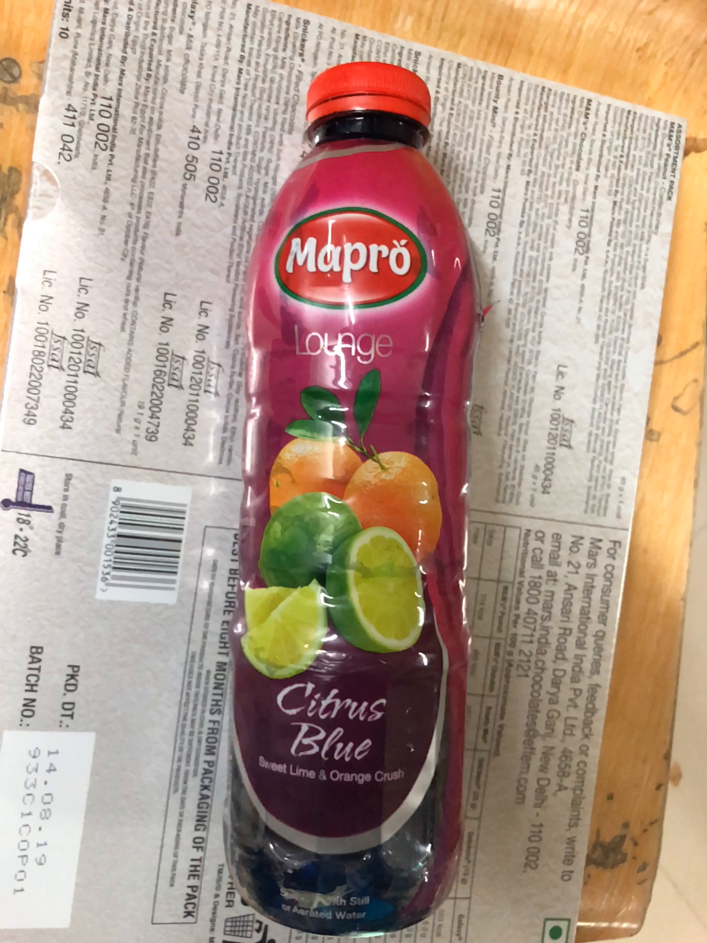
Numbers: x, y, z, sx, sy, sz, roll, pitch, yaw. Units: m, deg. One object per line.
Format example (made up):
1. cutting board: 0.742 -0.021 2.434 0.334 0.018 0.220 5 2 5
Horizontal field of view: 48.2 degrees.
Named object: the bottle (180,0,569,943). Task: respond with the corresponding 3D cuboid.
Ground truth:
1. bottle: 0.008 -0.007 0.248 0.090 0.080 0.270 3 94 9
